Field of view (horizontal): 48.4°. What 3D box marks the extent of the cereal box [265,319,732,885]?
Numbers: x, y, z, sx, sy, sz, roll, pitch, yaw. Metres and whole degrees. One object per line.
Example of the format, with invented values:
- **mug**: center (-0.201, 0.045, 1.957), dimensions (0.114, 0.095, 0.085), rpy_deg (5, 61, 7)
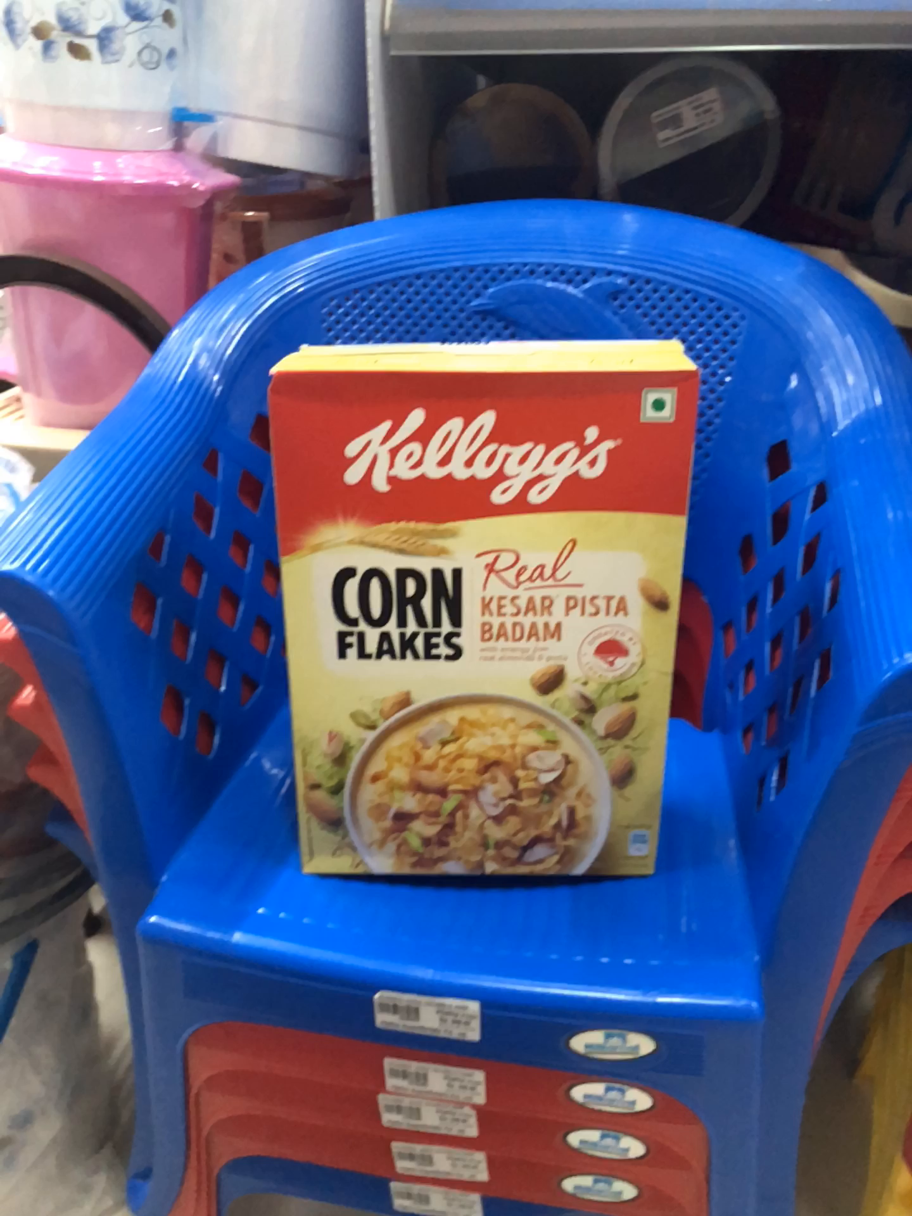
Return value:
- **cereal box**: center (0.020, 0.003, 0.498), dimensions (0.190, 0.269, 0.070), rpy_deg (0, 23, 2)
